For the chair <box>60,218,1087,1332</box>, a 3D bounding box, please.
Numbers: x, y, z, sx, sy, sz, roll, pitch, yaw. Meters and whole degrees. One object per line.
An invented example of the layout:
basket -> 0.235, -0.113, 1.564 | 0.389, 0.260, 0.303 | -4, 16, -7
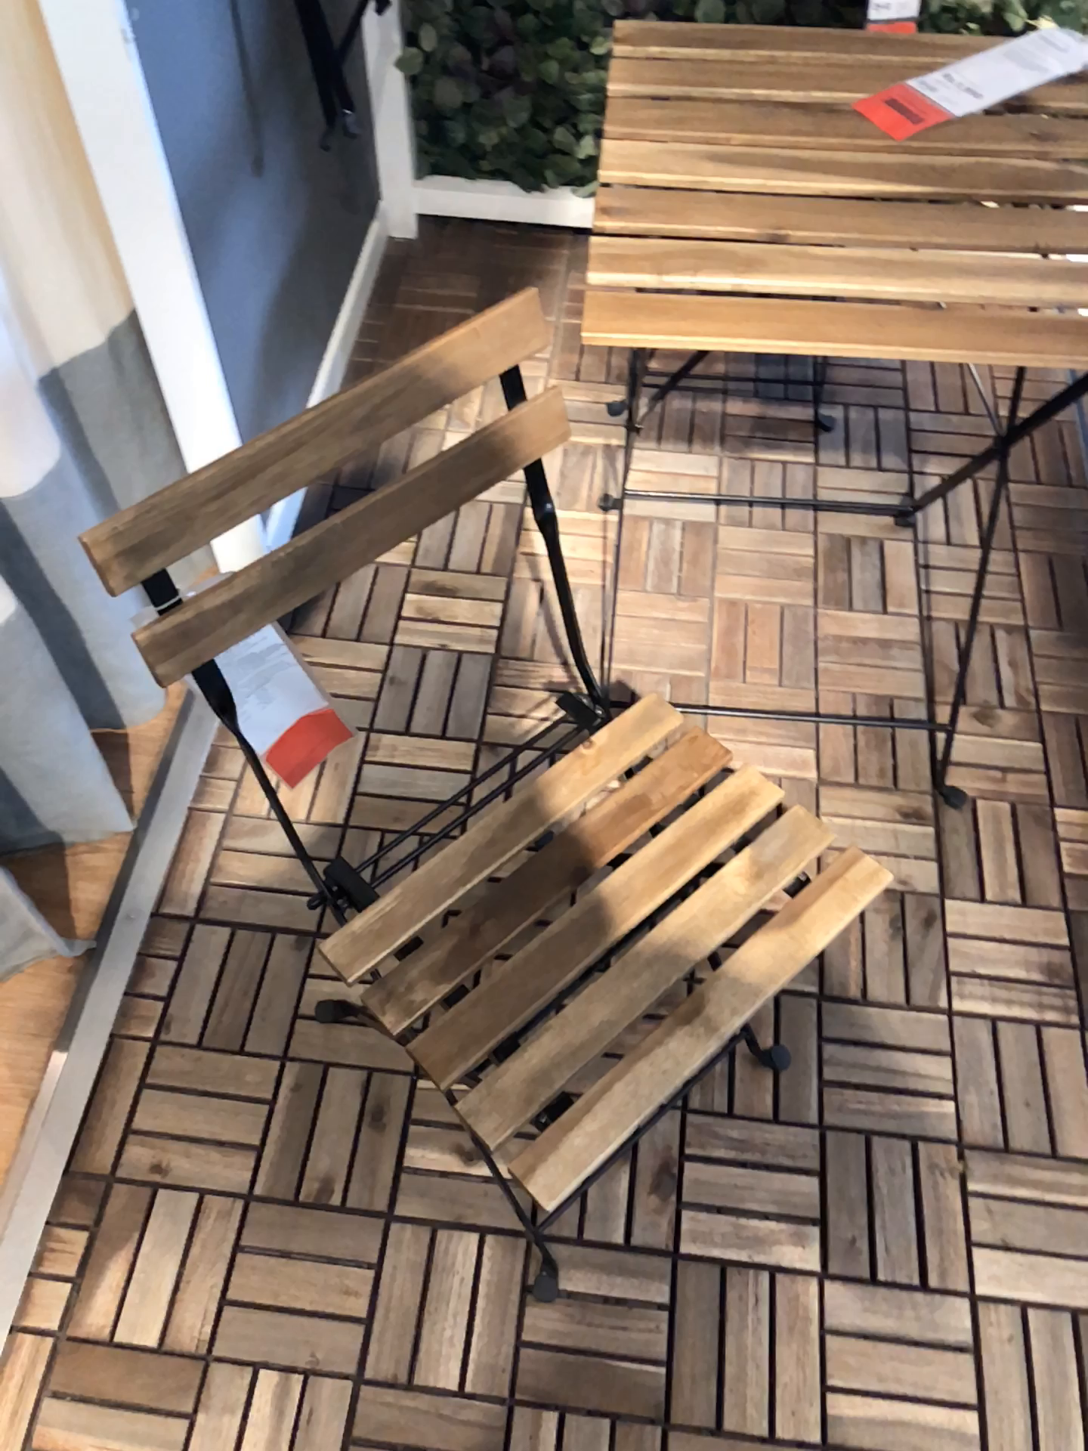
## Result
chair -> 0.026, 0.097, 0.968 | 0.431, 0.726, 0.431 | -36, 63, -23
